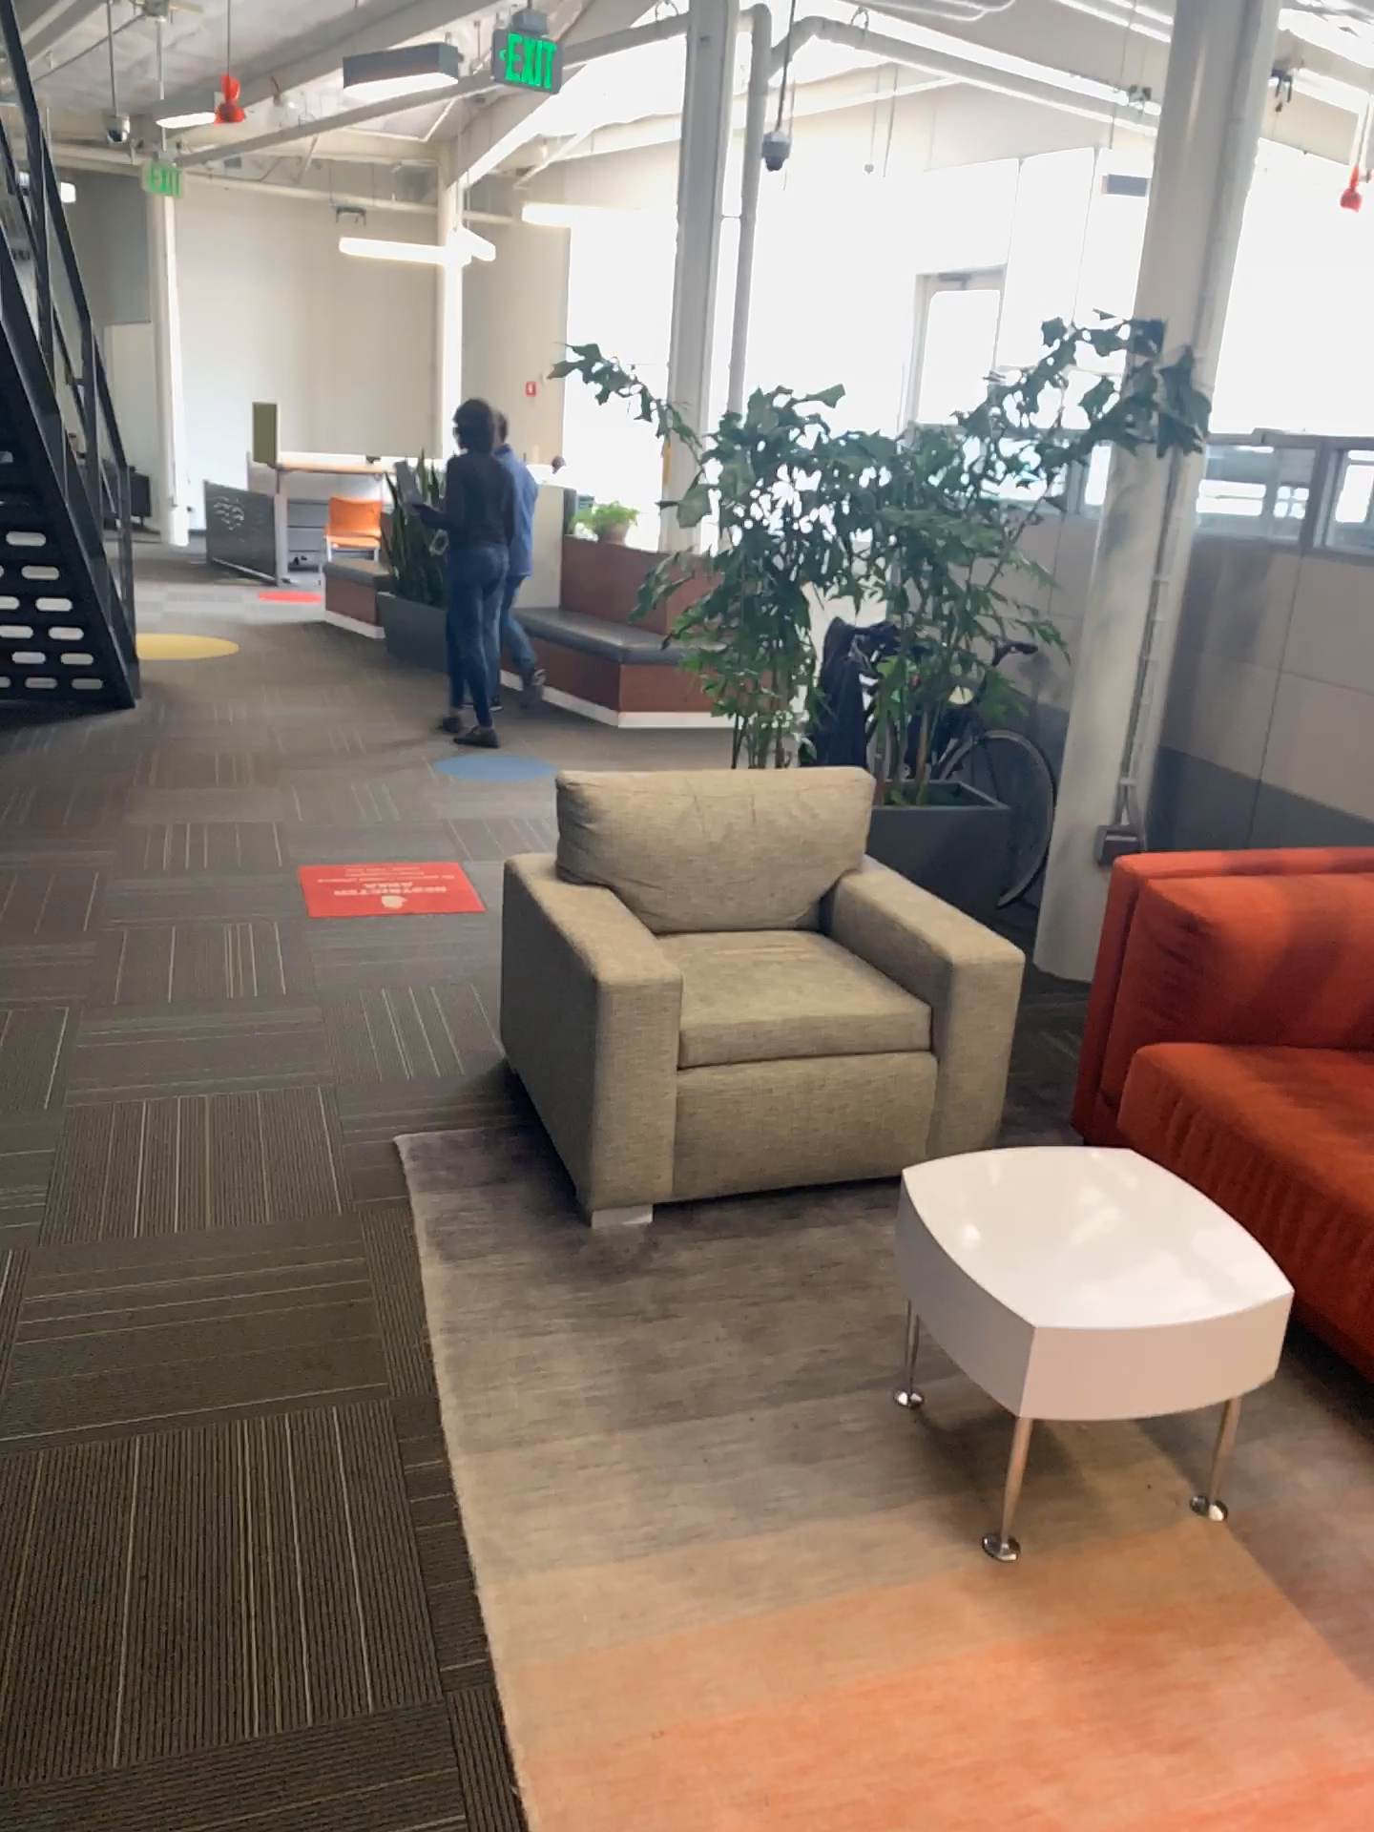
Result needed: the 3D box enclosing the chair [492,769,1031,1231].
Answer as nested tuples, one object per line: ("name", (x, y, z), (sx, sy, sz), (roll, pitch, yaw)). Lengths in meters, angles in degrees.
("chair", (0.105, 0.123, 3.233), (0.920, 0.727, 0.874), (-3, 19, -19))
